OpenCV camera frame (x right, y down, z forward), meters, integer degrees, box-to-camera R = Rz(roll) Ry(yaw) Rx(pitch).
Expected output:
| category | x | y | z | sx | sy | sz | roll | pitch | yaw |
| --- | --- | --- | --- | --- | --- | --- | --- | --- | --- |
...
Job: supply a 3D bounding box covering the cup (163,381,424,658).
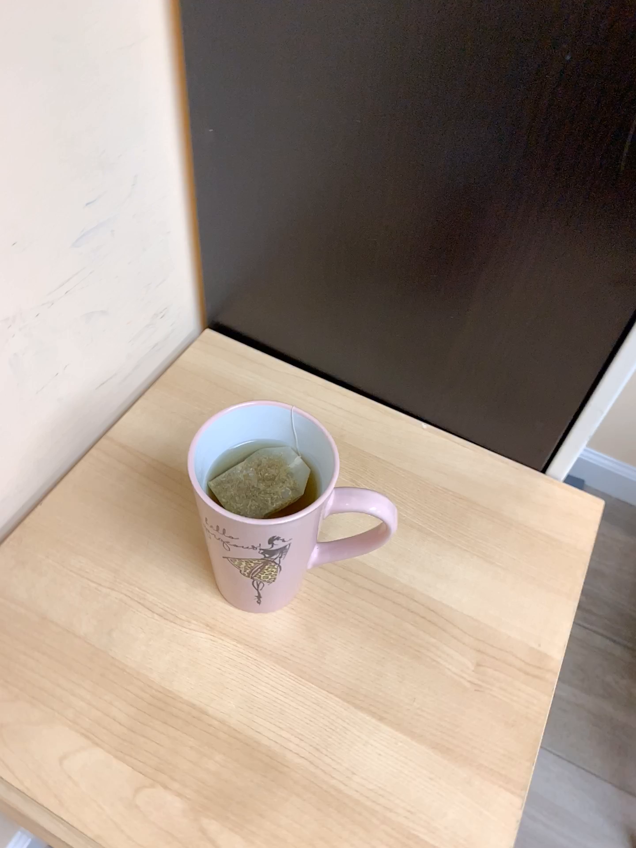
| category | x | y | z | sx | sy | sz | roll | pitch | yaw |
| --- | --- | --- | --- | --- | --- | --- | --- | --- | --- |
| cup | -0.016 | 0.070 | 0.442 | 0.133 | 0.151 | 0.093 | 14 | 52 | 6 |
